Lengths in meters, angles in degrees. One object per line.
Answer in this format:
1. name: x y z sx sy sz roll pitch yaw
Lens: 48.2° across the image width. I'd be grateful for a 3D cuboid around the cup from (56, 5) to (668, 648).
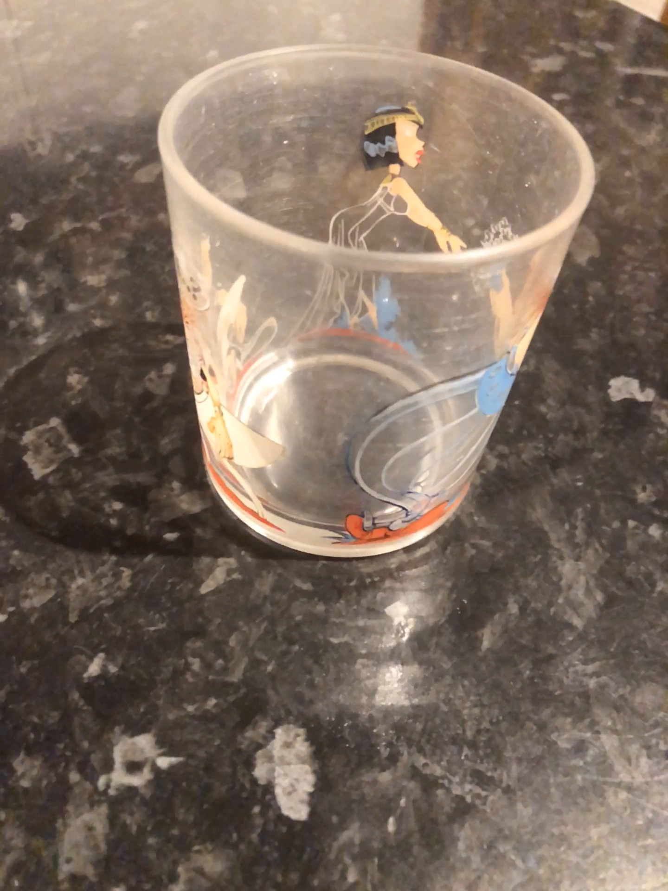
1. cup: 0.010 -0.026 0.153 0.080 0.080 0.080 3 48 -3
